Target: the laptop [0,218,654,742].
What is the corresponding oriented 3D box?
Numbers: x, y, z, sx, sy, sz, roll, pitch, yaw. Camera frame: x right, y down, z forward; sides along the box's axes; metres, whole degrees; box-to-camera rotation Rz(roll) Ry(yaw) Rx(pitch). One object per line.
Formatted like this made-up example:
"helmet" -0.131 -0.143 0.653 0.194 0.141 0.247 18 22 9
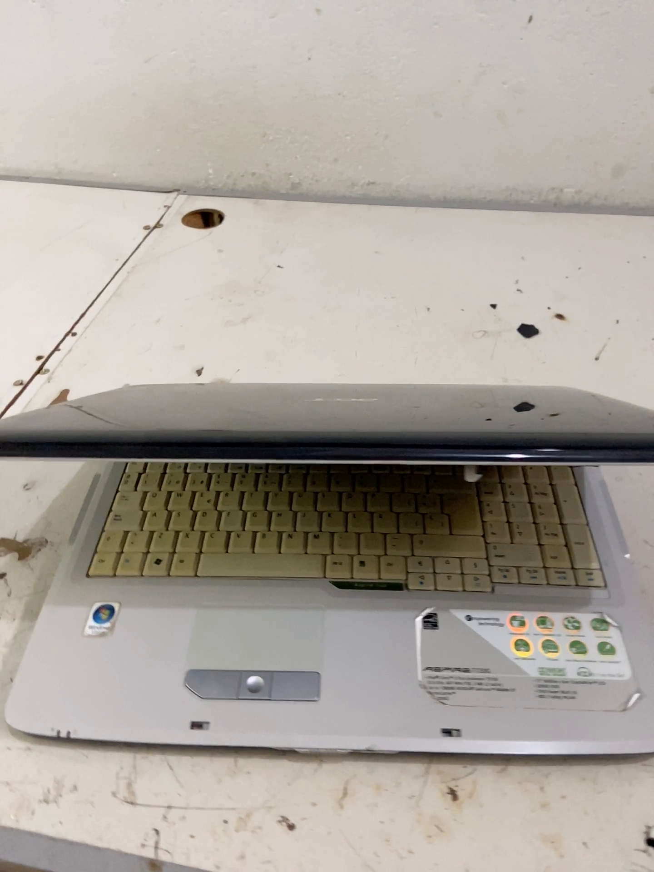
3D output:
"laptop" 0.010 0.011 0.422 0.380 0.164 0.279 0 44 5
